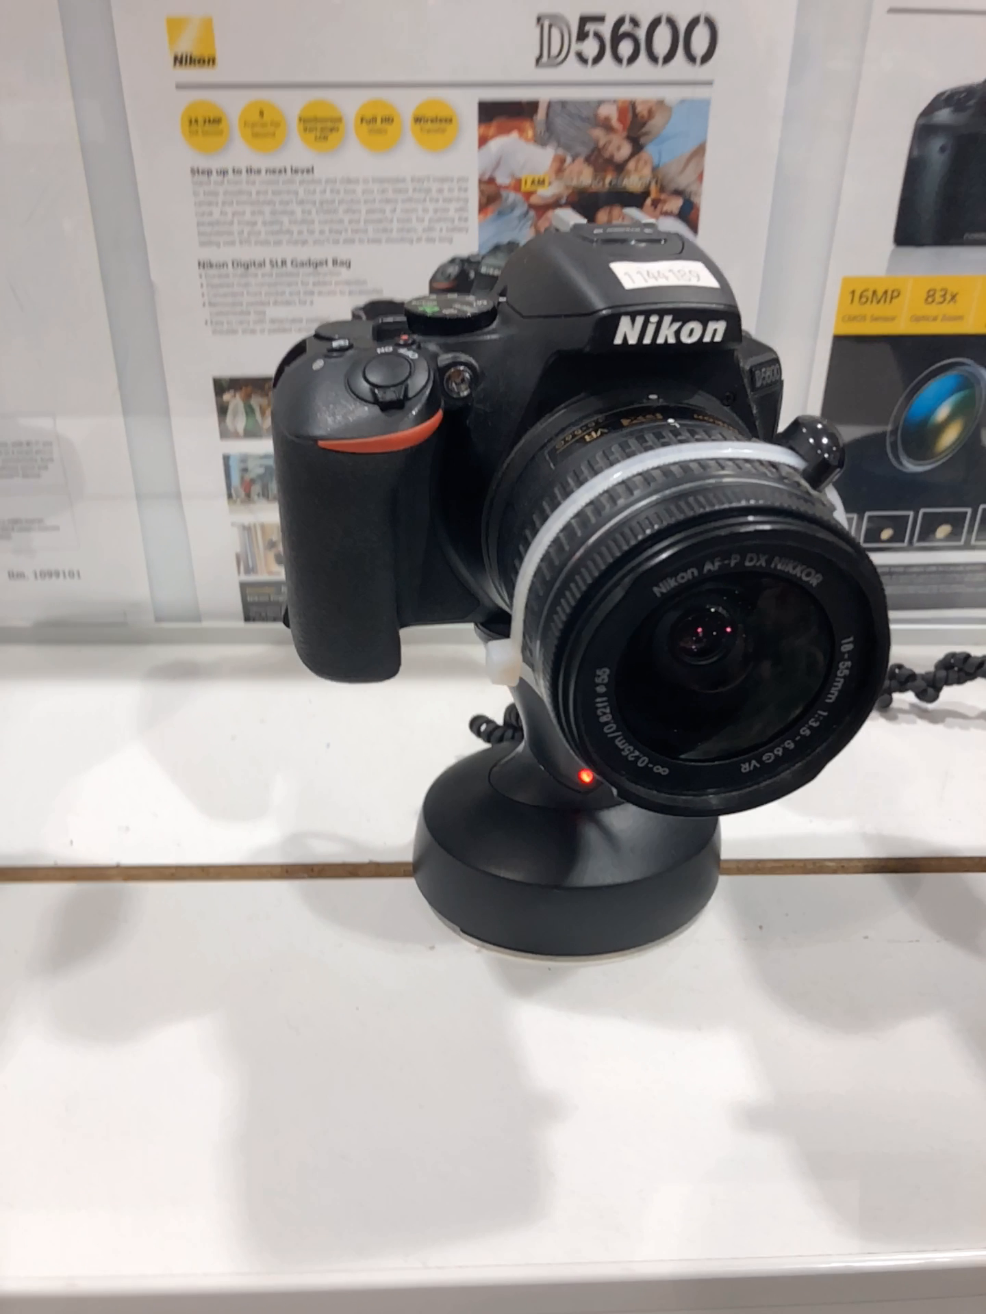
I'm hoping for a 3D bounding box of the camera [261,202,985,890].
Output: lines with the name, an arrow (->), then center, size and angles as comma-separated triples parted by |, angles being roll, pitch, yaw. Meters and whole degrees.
camera -> 0.020, -0.039, 0.236 | 0.130, 0.090, 0.141 | -4, 31, -11
